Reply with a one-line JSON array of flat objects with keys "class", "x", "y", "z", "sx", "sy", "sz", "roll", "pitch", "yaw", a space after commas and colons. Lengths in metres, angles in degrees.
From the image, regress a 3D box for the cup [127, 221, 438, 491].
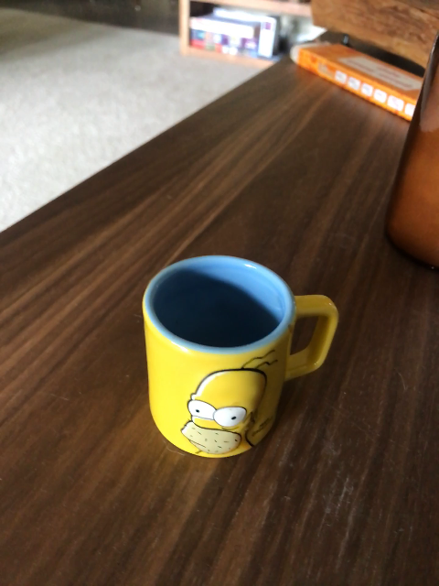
[{"class": "cup", "x": 0.017, "y": 0.020, "z": 0.183, "sx": 0.090, "sy": 0.060, "sz": 0.060, "roll": -10, "pitch": 41, "yaw": -16}]
